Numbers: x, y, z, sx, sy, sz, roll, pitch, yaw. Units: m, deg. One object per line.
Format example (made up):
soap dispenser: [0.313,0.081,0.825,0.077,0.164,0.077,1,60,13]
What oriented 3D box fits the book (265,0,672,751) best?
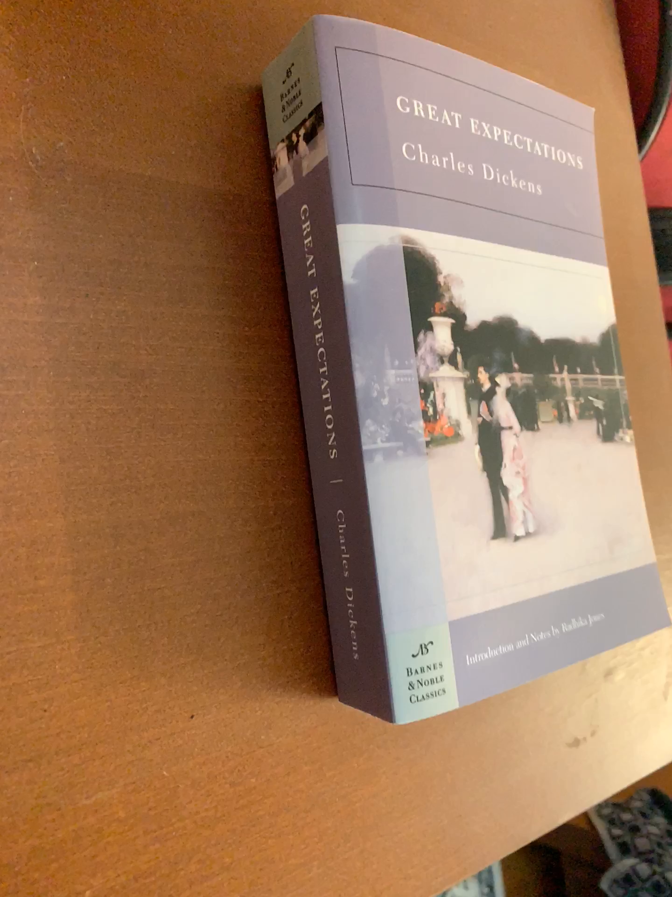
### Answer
book: [0.057,-0.028,0.236,0.141,0.040,0.200,-5,87,-38]
